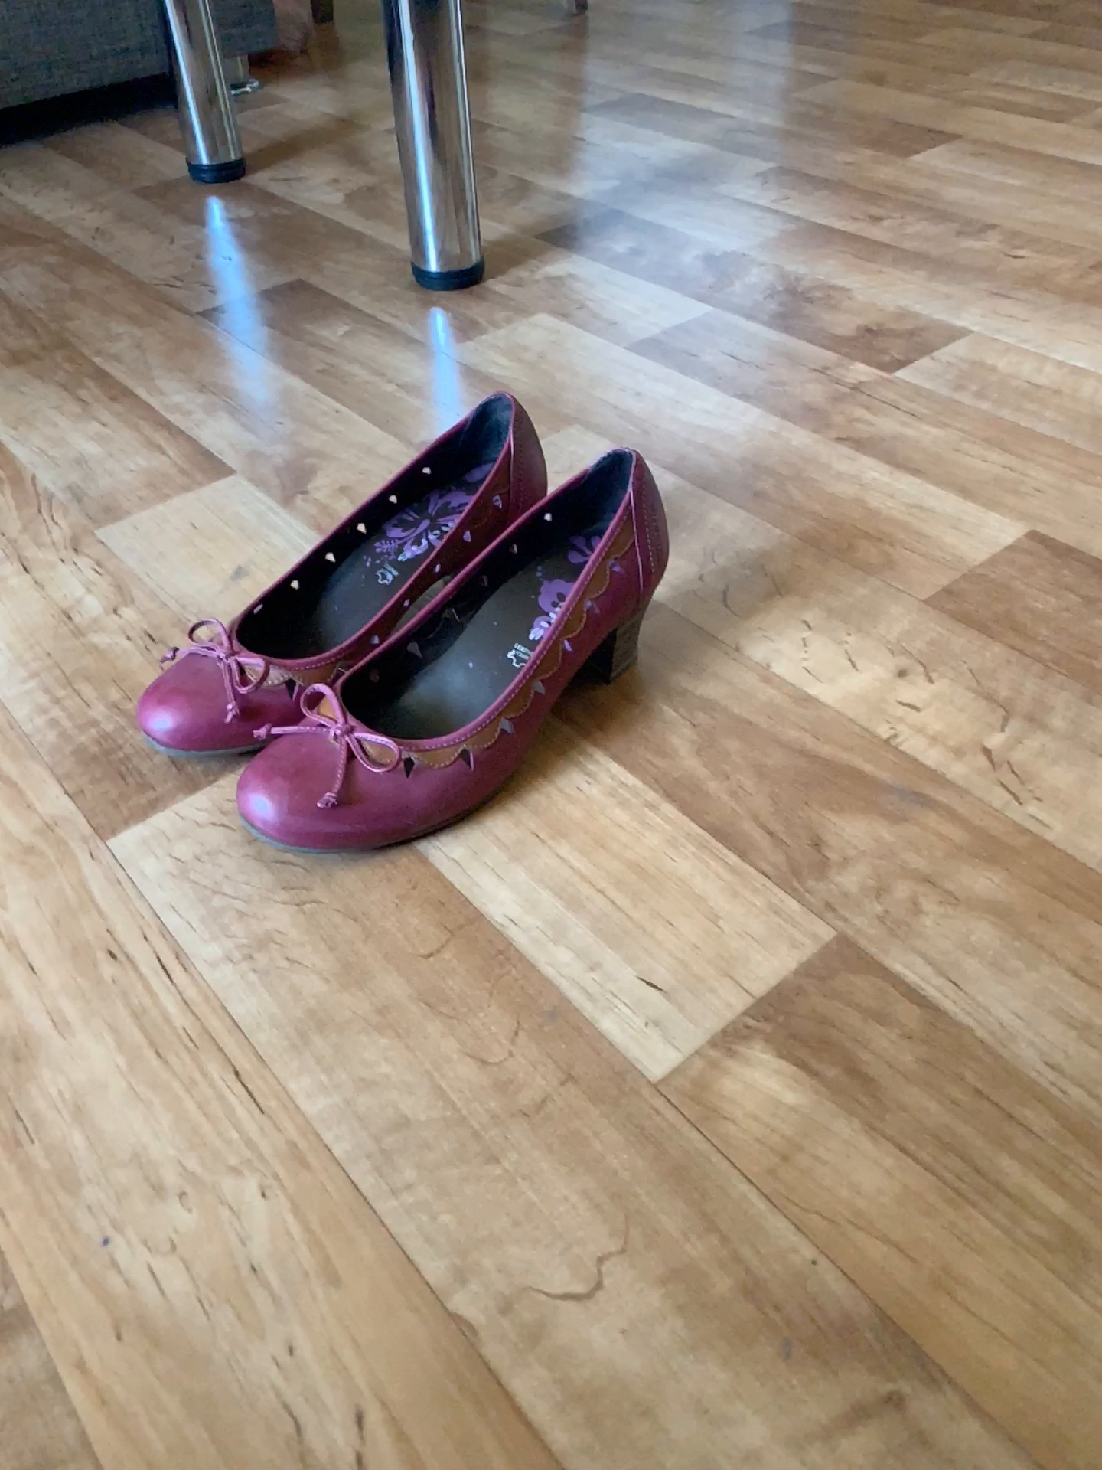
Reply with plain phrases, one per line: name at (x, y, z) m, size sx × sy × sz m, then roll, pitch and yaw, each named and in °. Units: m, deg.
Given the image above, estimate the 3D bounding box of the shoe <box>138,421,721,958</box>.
shoe at (-0.038, -0.031, 0.503) m, size 0.240 × 0.109 × 0.090 m, roll -35°, pitch 51°, yaw -30°

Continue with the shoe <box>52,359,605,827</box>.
shoe at (-0.092, -0.079, 0.551) m, size 0.240 × 0.109 × 0.090 m, roll -33°, pitch 50°, yaw -28°
